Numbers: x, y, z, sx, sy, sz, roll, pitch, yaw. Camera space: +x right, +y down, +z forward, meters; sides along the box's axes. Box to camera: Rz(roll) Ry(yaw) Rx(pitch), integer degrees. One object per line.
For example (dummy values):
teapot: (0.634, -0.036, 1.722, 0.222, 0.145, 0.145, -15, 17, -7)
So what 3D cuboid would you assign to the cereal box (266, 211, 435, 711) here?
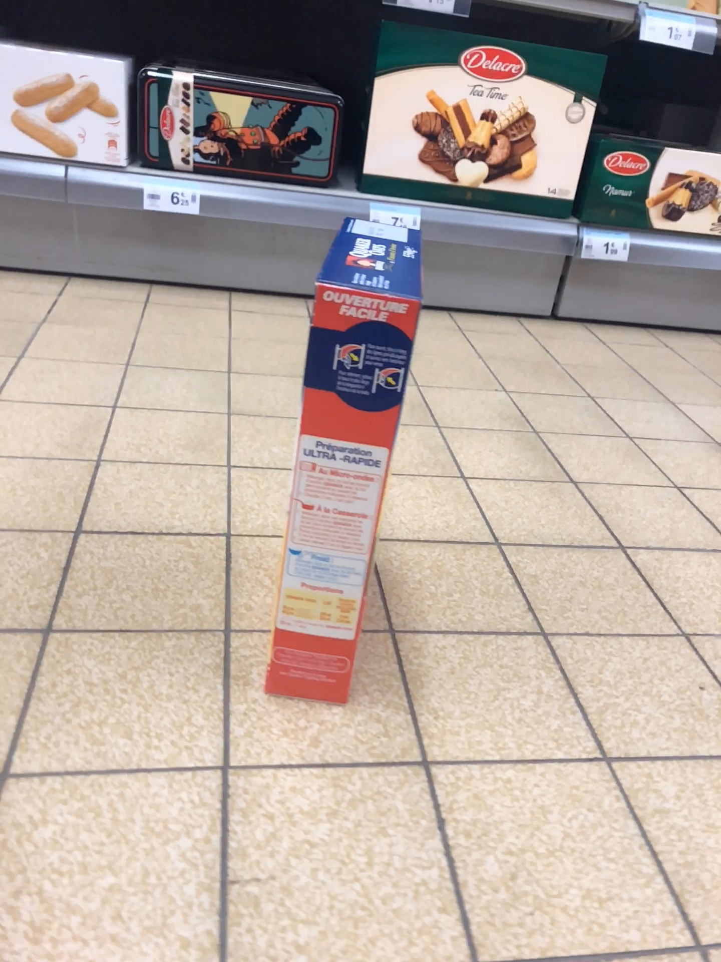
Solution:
cereal box: (-0.005, -0.014, 0.433, 0.050, 0.229, 0.141, 9, 28, 0)
